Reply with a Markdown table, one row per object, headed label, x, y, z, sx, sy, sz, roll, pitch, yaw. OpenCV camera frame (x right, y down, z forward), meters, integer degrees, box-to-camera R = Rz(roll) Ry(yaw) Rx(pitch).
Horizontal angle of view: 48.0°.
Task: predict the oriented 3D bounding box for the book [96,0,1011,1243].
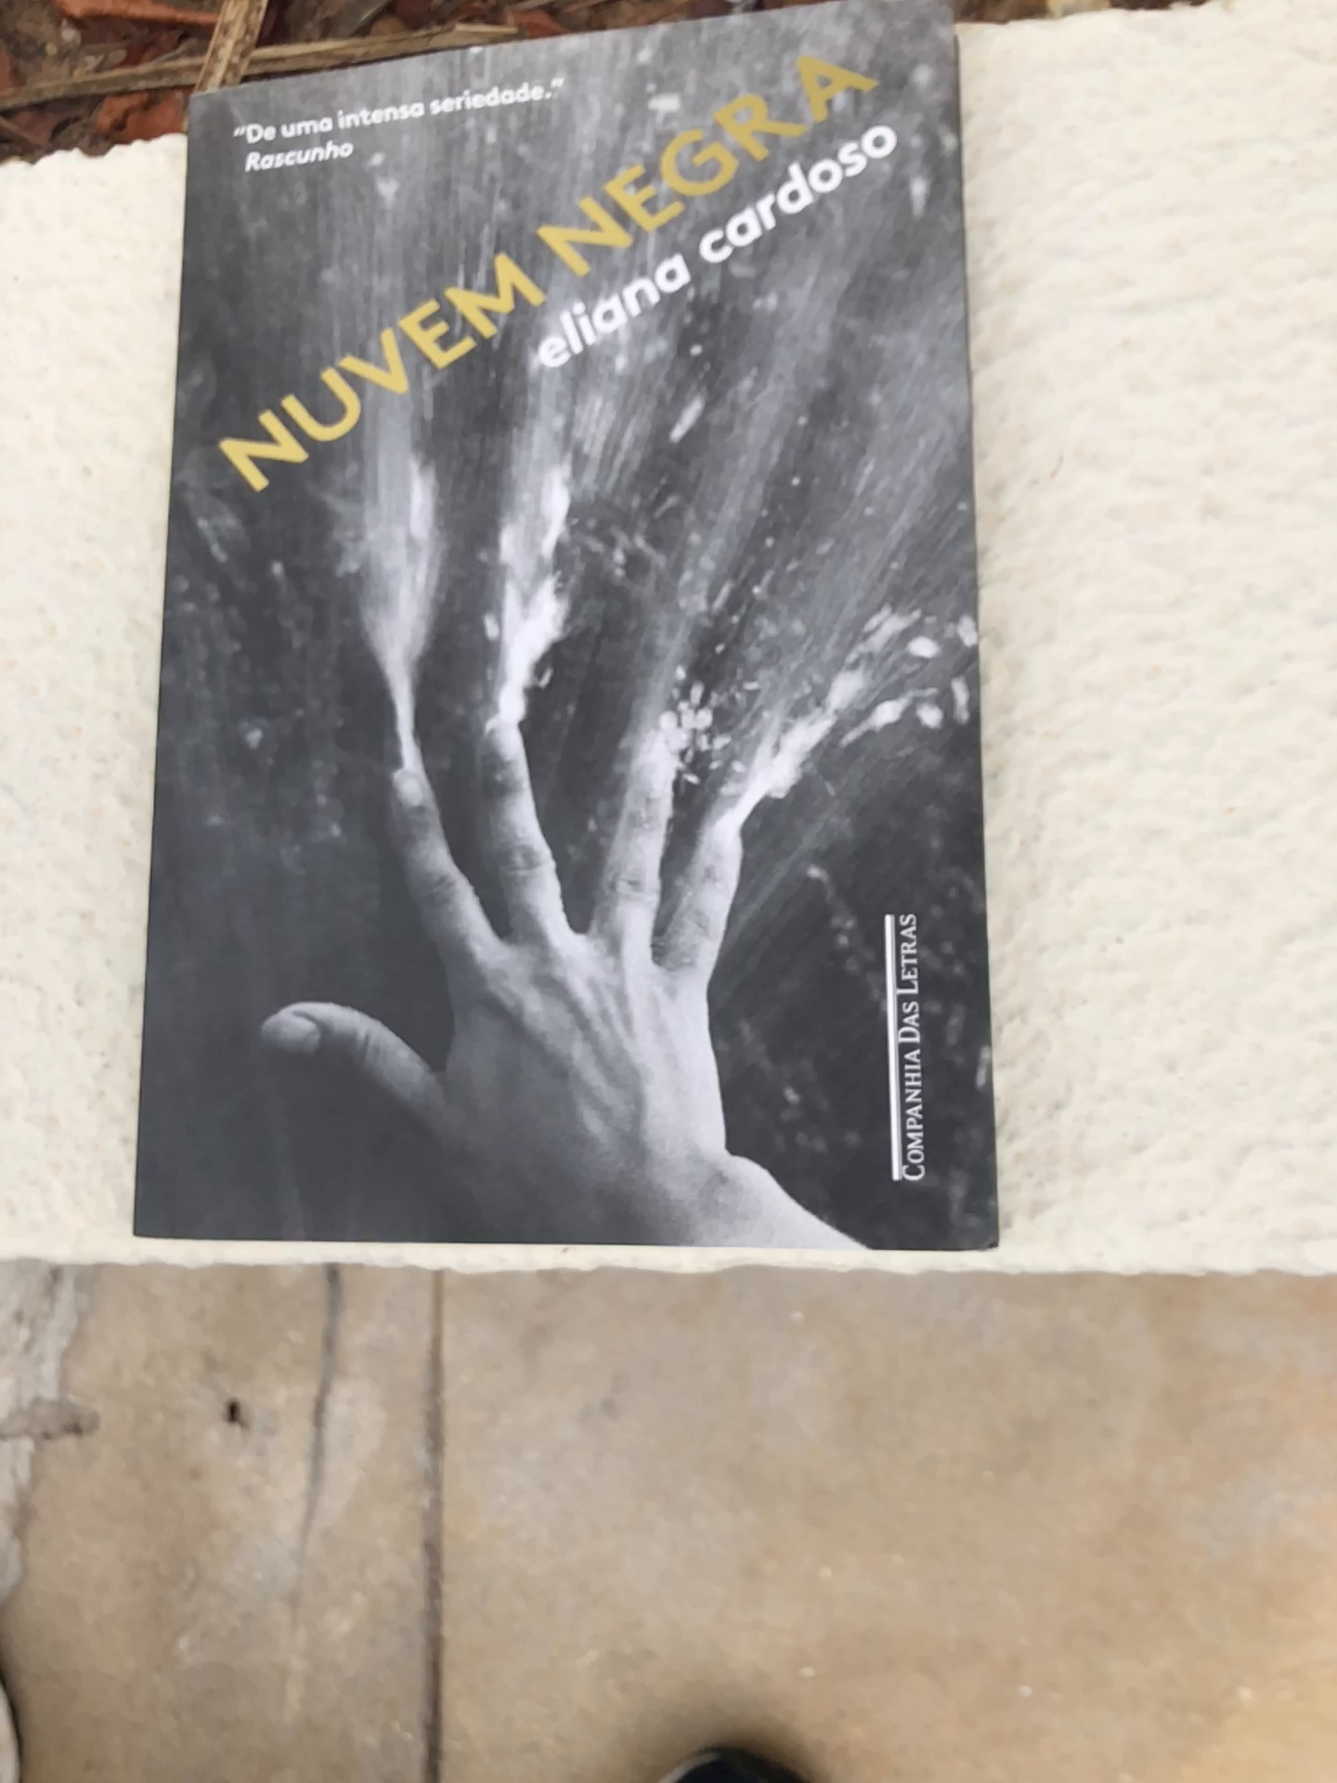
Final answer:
| label | x | y | z | sx | sy | sz | roll | pitch | yaw |
| --- | --- | --- | --- | --- | --- | --- | --- | --- | --- |
| book | -0.019 | -0.047 | 0.245 | 0.140 | 0.013 | 0.200 | -1 | 82 | 8 |
